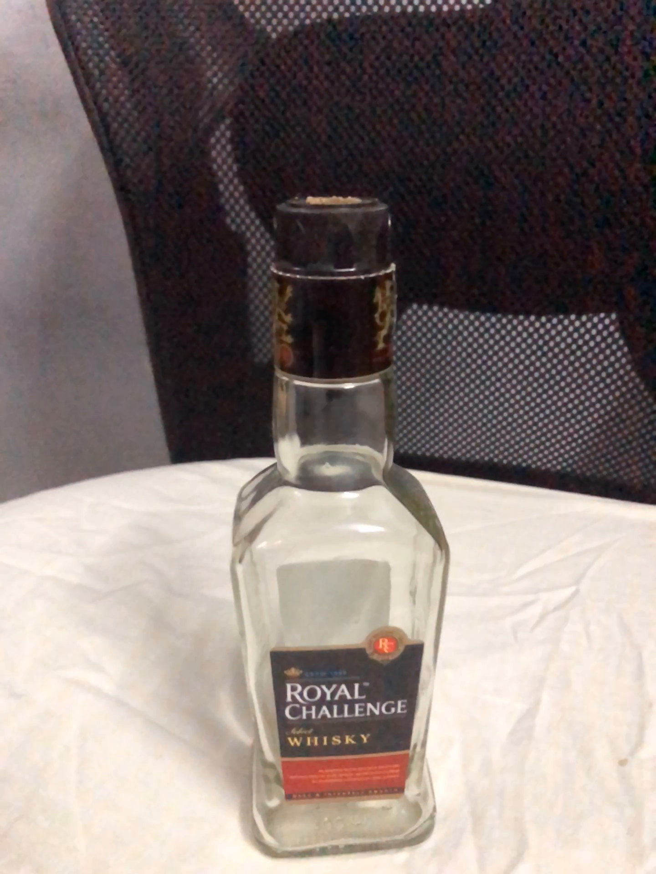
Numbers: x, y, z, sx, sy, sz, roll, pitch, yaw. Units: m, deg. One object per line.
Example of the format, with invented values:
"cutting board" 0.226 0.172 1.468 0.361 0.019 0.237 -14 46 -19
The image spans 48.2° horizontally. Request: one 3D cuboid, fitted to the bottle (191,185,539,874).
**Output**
"bottle" 0.007 0.036 0.209 0.070 0.199 0.050 -2 24 -4
